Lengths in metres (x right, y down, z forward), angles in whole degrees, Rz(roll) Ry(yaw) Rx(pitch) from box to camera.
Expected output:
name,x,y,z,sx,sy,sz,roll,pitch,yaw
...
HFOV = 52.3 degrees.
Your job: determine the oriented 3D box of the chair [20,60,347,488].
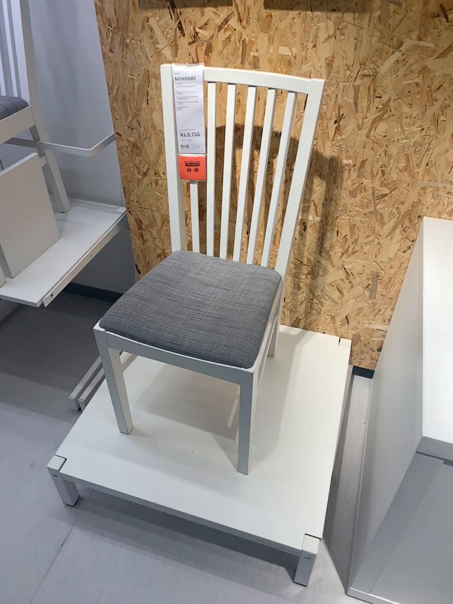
name,x,y,z,sx,sy,sz,roll,pitch,yaw
chair,-0.037,-0.068,1.242,0.470,0.896,0.592,14,42,15
